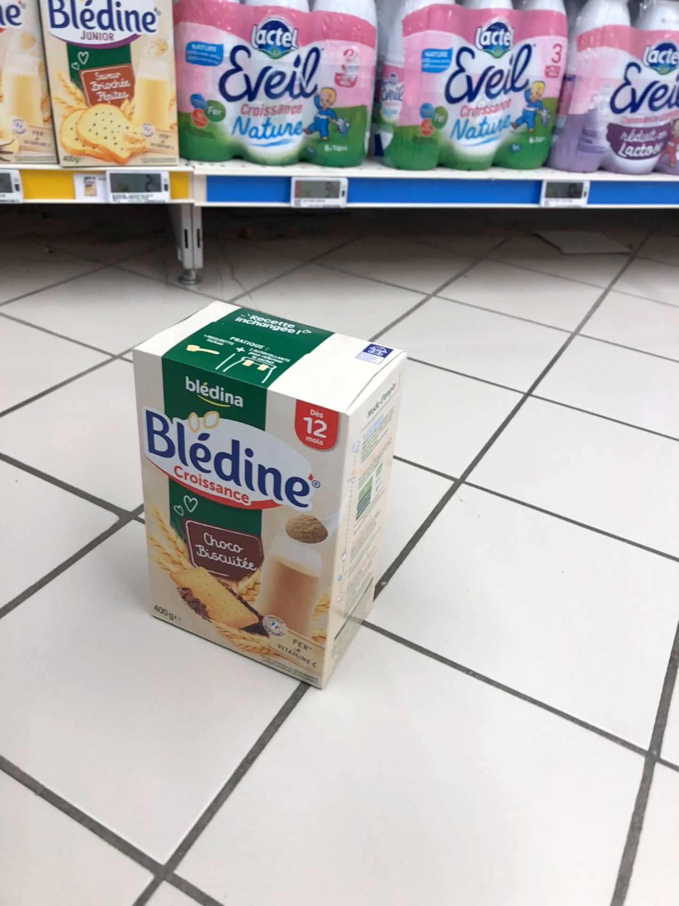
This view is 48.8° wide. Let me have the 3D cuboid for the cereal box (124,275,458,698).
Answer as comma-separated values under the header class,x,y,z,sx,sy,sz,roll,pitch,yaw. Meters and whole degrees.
class,x,y,z,sx,sy,sz,roll,pitch,yaw
cereal box,-0.030,0.015,0.474,0.150,0.199,0.121,17,33,18
